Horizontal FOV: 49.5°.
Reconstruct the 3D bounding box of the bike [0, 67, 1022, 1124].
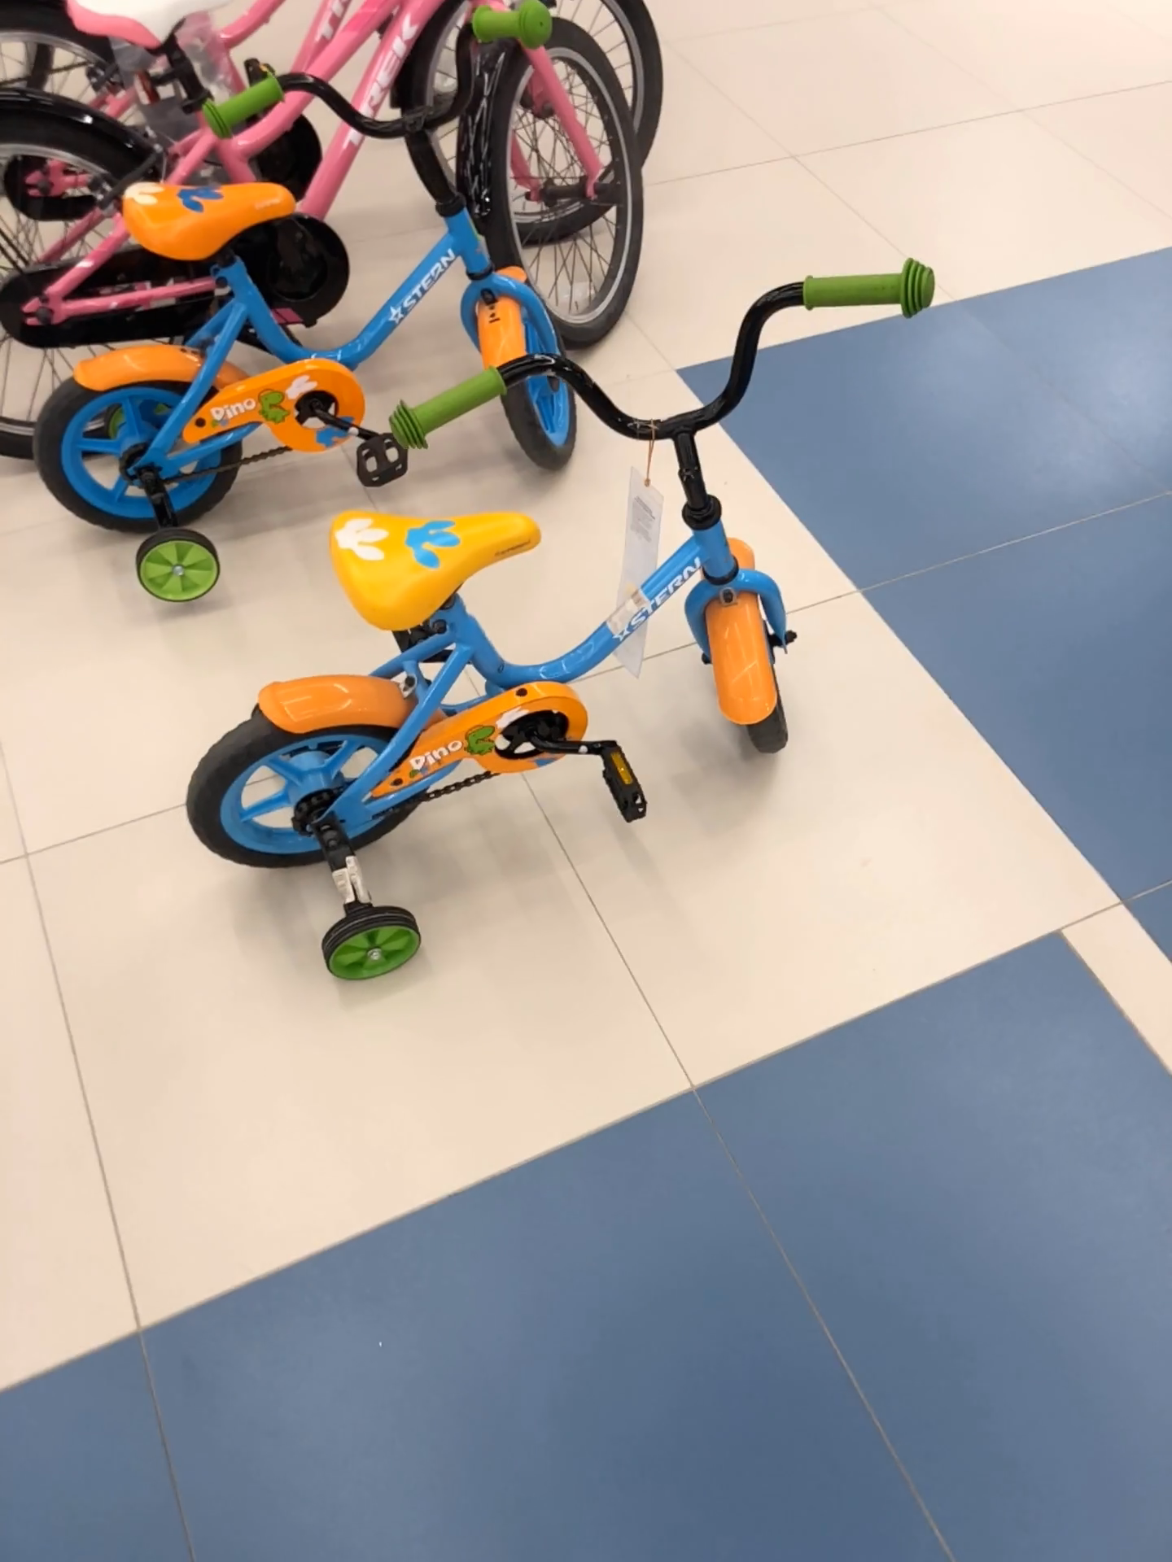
[{"bbox_3d":[-0.083,-0.216,1.356,0.751,0.681,0.566,-27,57,-23],"label":"bike"}]
